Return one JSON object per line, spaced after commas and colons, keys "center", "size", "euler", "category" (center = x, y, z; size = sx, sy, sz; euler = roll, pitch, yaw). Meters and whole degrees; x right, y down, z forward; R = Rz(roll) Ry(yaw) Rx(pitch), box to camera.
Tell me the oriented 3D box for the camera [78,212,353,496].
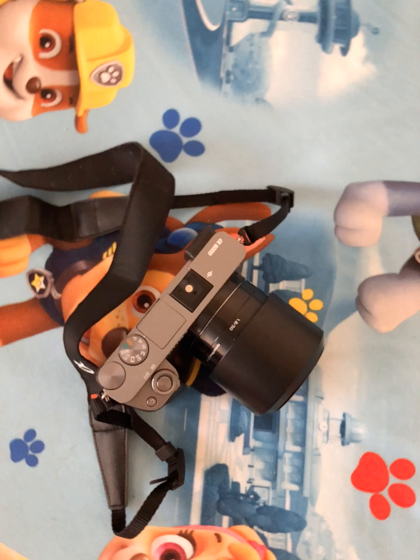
{"center": [0.005, 0.047, 0.324], "size": [0.110, 0.080, 0.130], "euler": [38, 84, 9], "category": "camera"}
